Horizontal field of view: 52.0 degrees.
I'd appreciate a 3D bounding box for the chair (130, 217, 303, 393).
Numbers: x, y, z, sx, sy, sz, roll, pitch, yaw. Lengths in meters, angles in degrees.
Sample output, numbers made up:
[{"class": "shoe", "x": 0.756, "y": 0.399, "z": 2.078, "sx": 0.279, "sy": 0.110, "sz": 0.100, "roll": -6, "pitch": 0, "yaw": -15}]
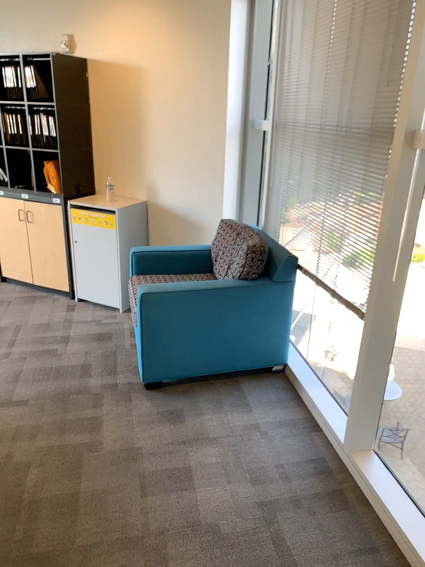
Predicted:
[{"class": "chair", "x": -0.053, "y": 0.066, "z": 2.901, "sx": 0.920, "sy": 0.826, "sz": 0.915, "roll": -3, "pitch": 21, "yaw": -12}]
